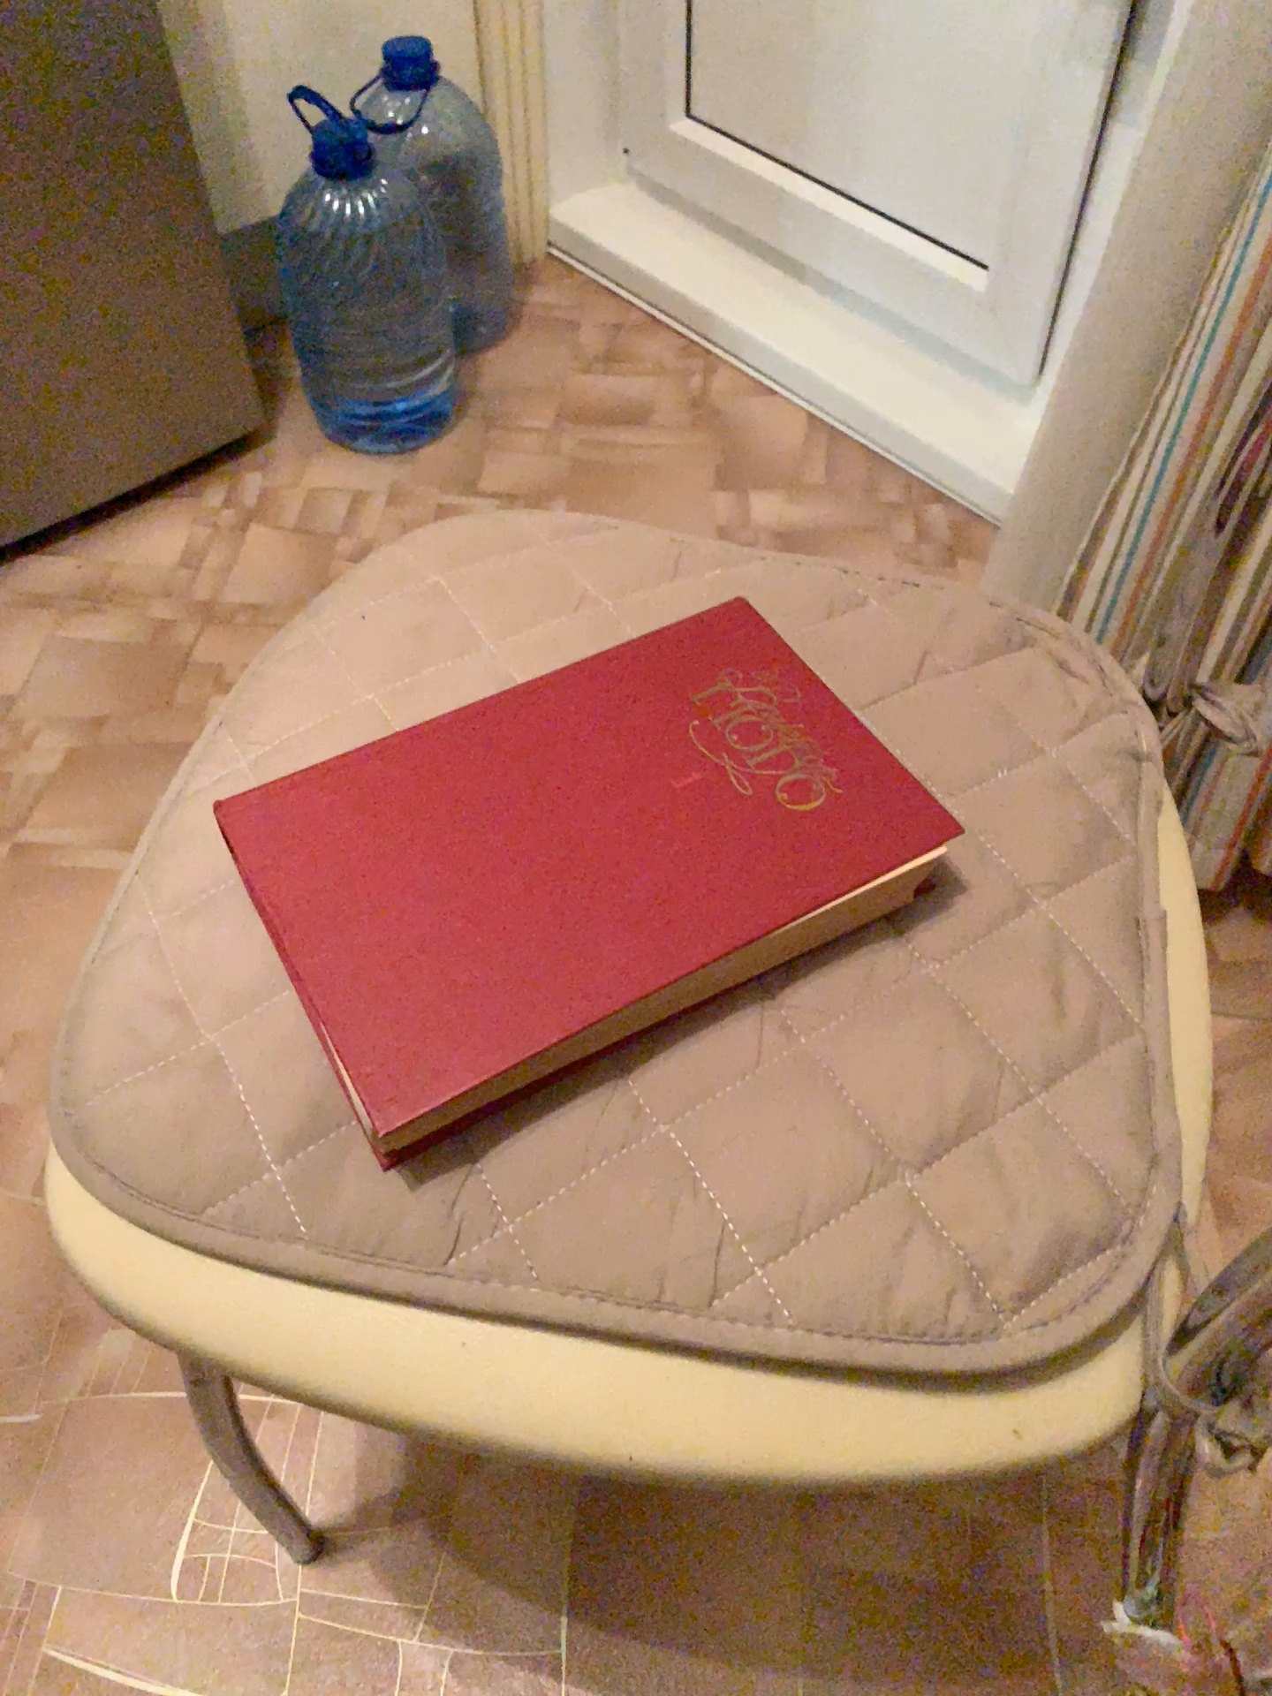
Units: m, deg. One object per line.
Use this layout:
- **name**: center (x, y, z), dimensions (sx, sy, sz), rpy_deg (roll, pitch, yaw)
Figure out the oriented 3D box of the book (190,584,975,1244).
- **book**: center (-0.018, 0.010, 0.426), dimensions (0.200, 0.060, 0.141), rpy_deg (-24, 55, -18)
